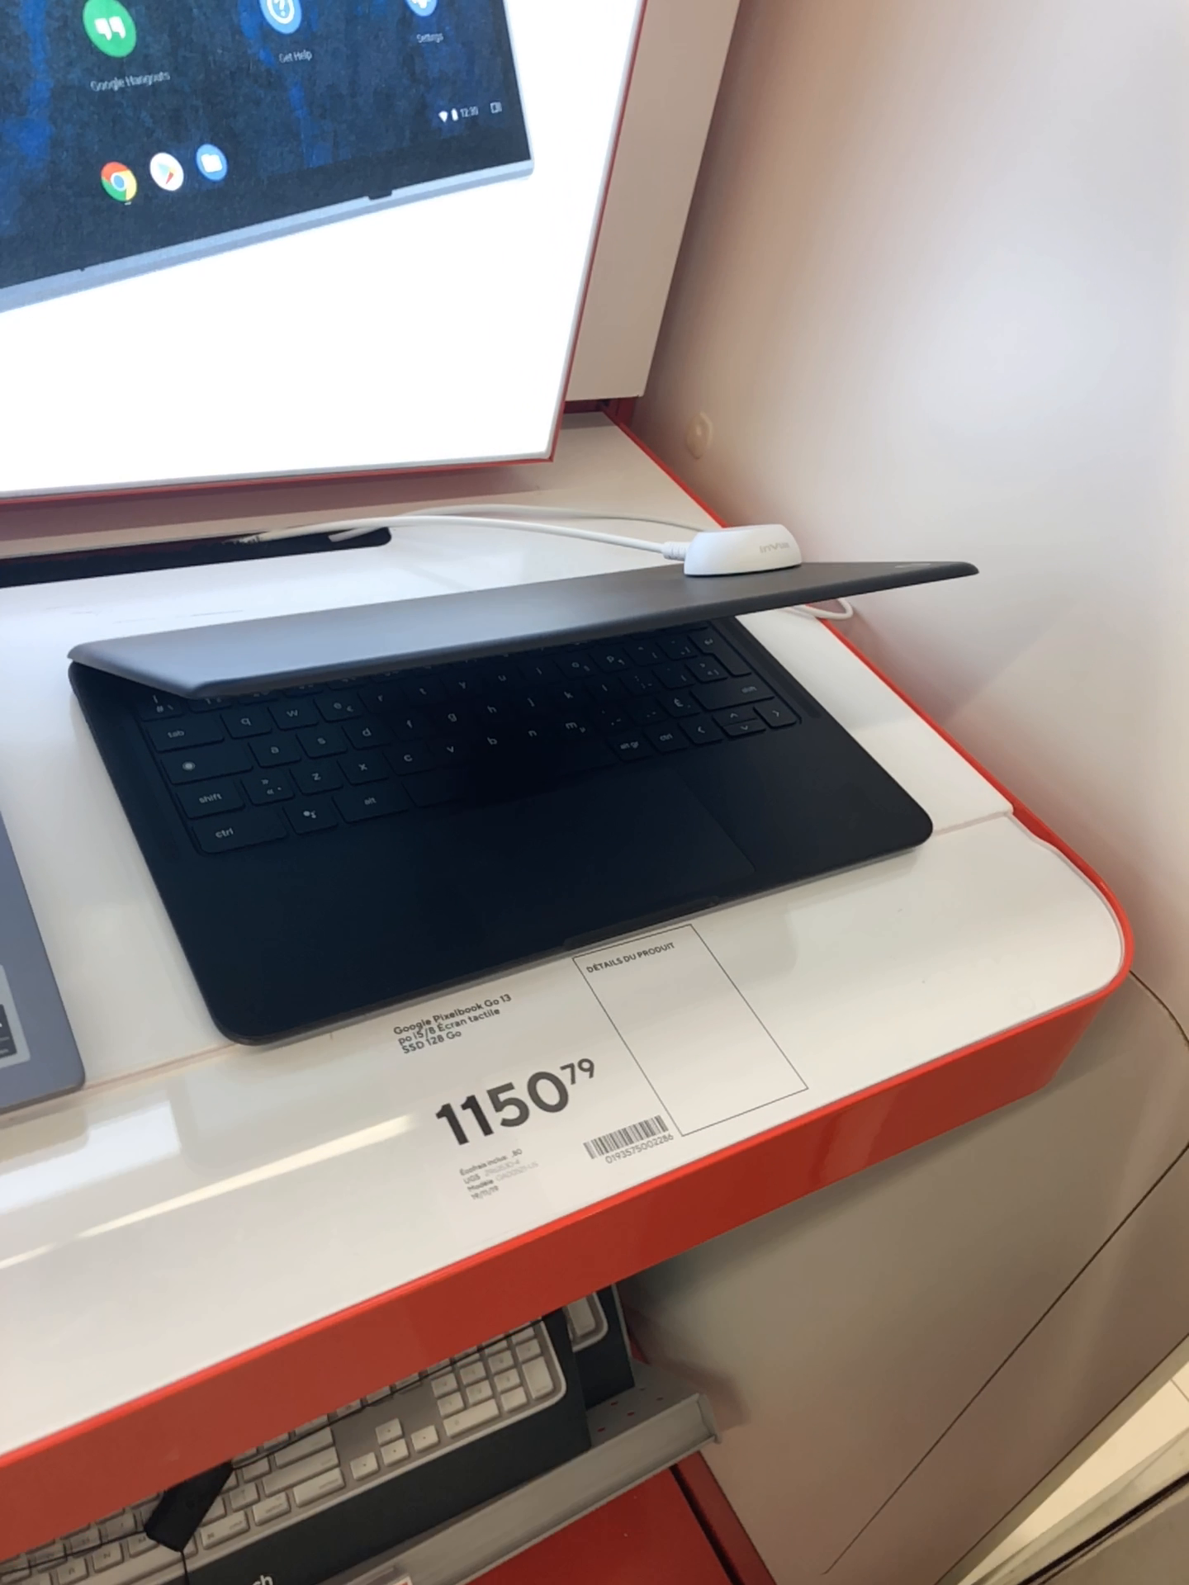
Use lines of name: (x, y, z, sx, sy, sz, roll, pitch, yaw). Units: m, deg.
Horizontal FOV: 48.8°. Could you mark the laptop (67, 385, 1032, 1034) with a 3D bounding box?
laptop: (-0.022, -0.057, 0.509, 0.299, 0.106, 0.199, -13, 47, -30)
